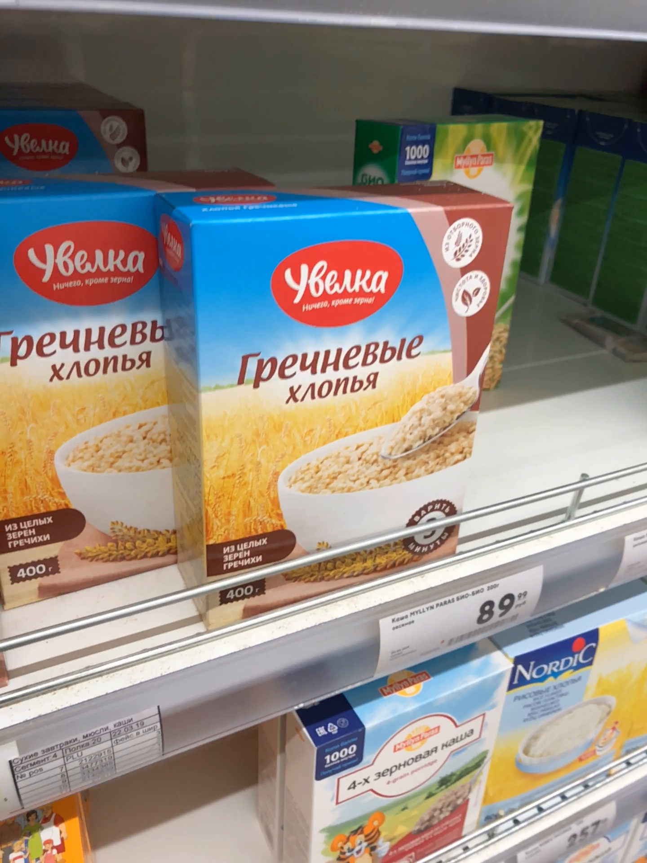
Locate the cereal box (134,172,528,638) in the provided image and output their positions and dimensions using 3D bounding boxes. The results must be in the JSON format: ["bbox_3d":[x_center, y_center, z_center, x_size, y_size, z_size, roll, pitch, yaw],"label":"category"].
[{"bbox_3d":[0.001,-0.015,0.339,0.150,0.189,0.060,-11,31,-24],"label":"cereal box"}]
